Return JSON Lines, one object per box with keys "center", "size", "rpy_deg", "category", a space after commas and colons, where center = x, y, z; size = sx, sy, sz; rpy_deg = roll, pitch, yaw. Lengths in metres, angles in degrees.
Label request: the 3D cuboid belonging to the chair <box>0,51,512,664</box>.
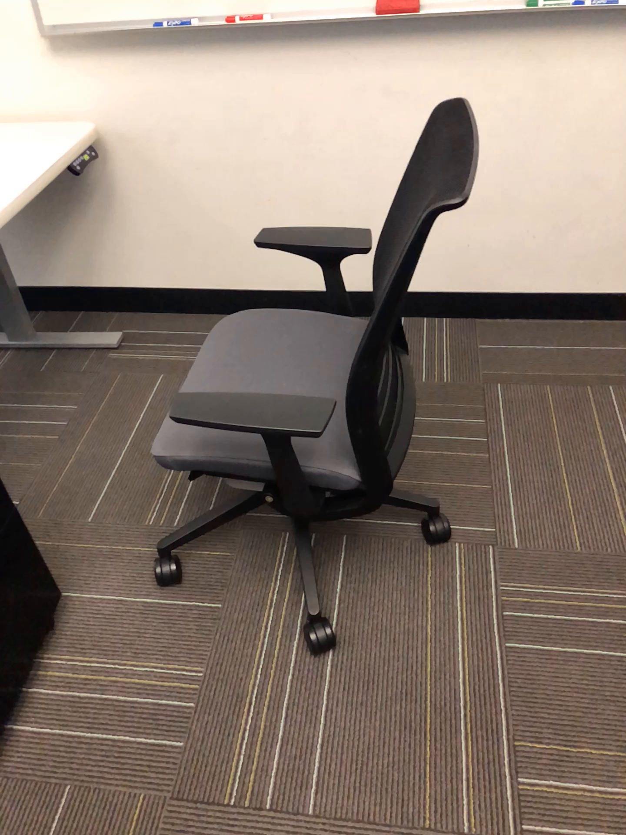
{"center": [-0.051, -0.111, 1.351], "size": [0.680, 0.905, 0.723], "rpy_deg": [1, 40, 7], "category": "chair"}
